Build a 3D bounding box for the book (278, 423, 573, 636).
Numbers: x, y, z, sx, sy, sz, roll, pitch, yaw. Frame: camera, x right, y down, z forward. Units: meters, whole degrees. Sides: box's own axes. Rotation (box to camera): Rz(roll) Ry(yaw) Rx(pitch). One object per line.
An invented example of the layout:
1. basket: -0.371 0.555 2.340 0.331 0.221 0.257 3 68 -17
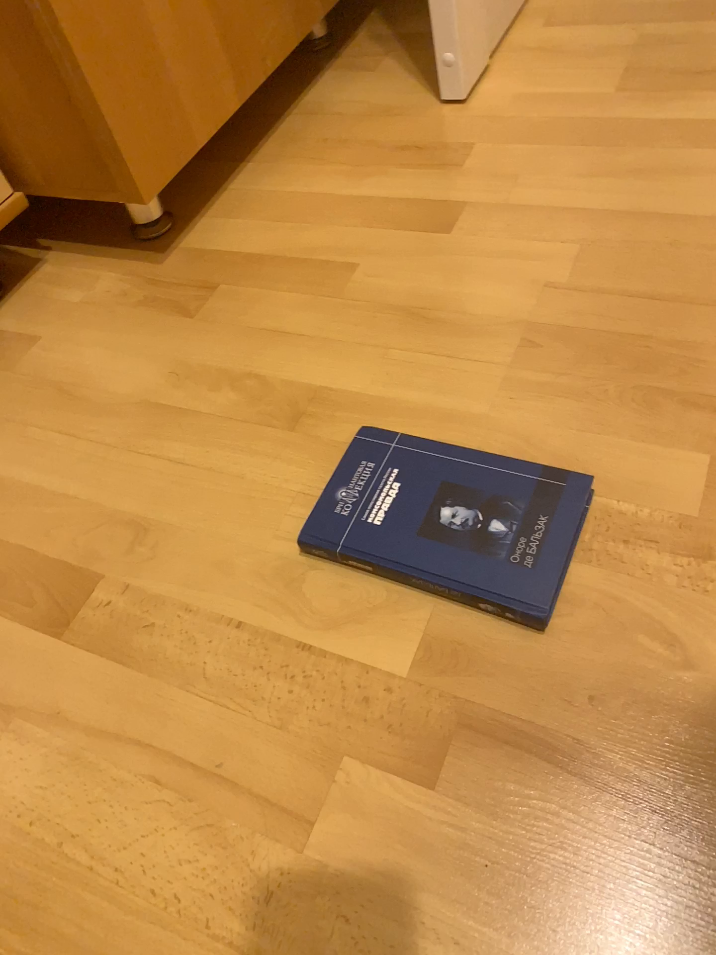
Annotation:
1. book: 0.054 0.033 0.586 0.201 0.030 0.129 14 57 23
